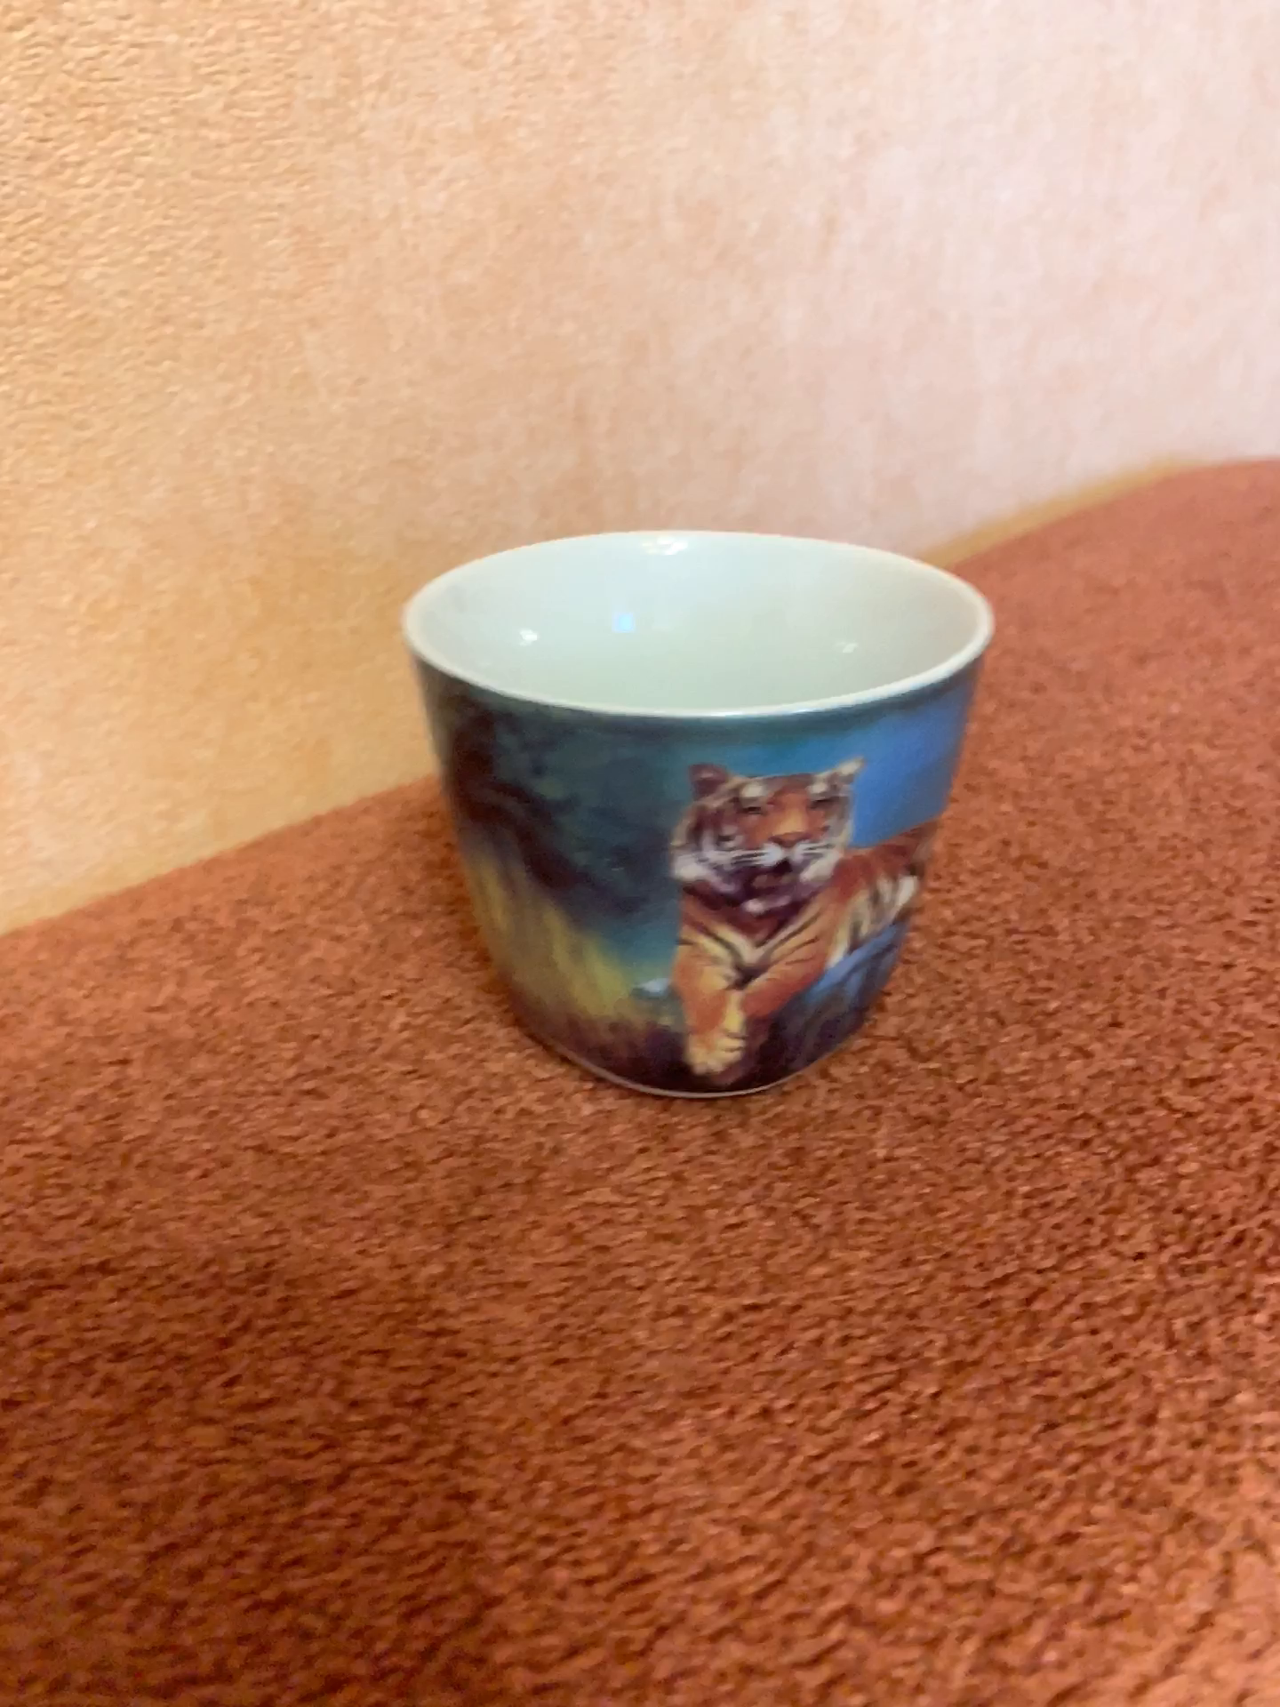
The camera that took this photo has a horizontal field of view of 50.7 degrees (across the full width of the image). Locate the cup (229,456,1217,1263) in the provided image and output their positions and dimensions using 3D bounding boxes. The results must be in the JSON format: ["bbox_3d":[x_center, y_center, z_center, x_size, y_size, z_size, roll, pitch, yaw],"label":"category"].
[{"bbox_3d":[0.010,-0.010,0.162,0.083,0.047,0.072,-25,36,-33],"label":"cup"}]
